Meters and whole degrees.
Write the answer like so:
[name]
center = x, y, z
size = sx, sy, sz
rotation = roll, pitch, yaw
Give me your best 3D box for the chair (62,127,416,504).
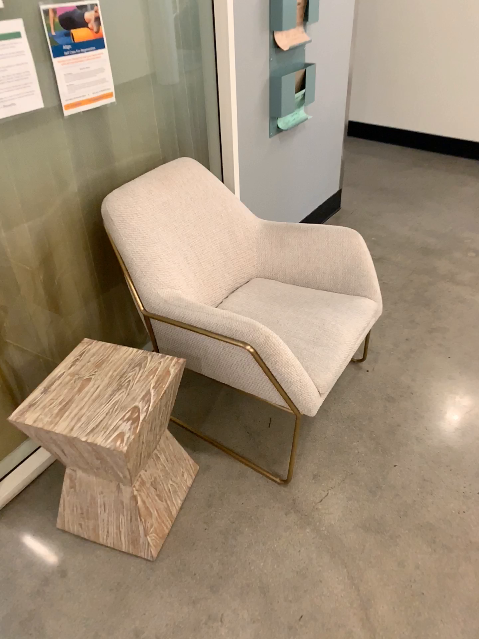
[chair]
center = 0.049, -0.083, 1.711
size = 0.772, 0.865, 0.783
rotation = 17, 40, 25
